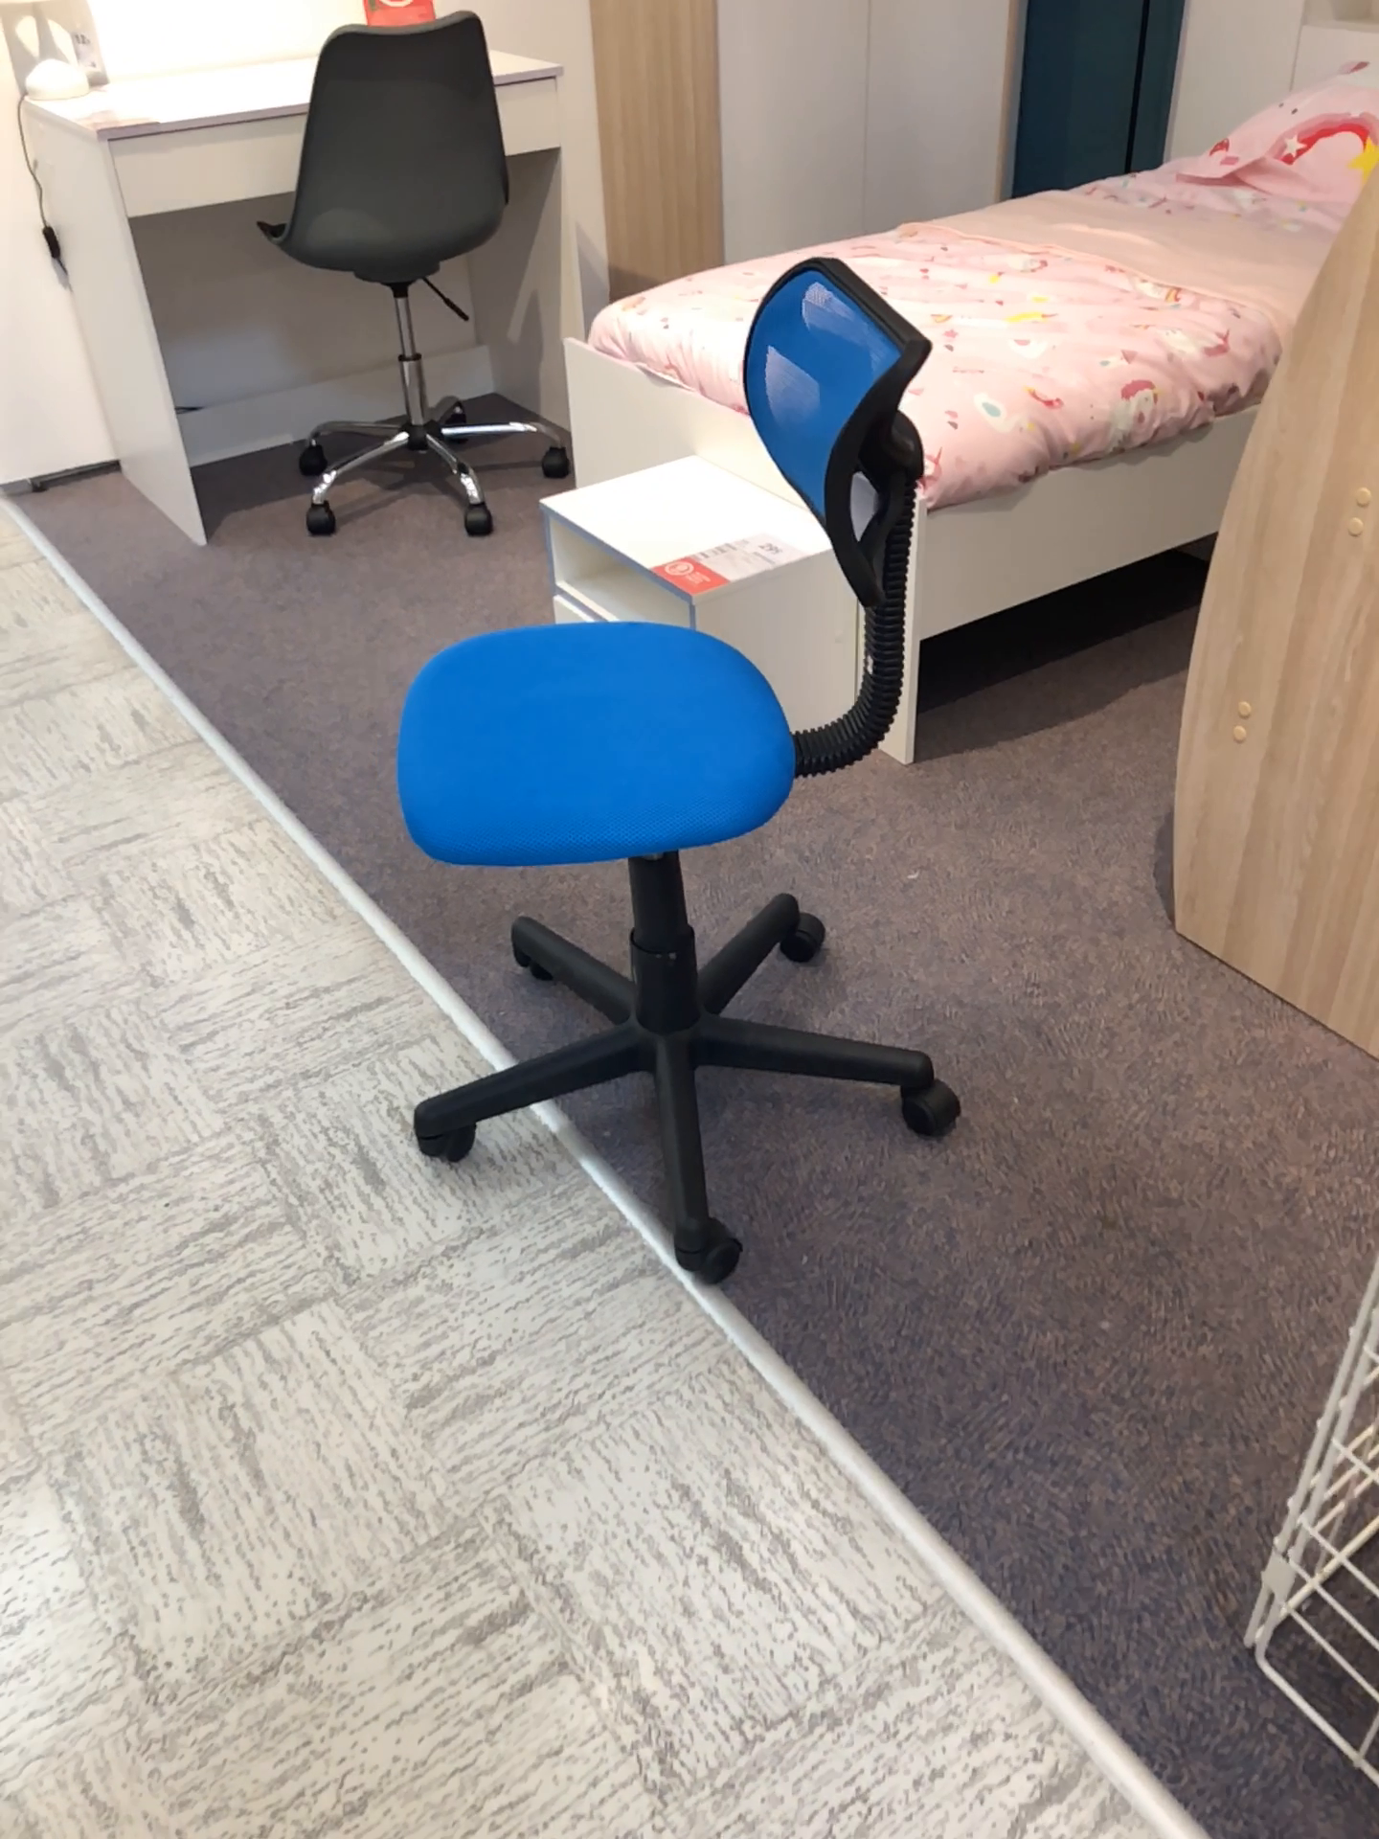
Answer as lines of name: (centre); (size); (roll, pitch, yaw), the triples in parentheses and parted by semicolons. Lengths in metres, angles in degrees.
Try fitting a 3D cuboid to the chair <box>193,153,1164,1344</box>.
chair: (-0.055, -0.193, 1.415); (0.611, 0.795, 0.663); (-11, 37, -11)
